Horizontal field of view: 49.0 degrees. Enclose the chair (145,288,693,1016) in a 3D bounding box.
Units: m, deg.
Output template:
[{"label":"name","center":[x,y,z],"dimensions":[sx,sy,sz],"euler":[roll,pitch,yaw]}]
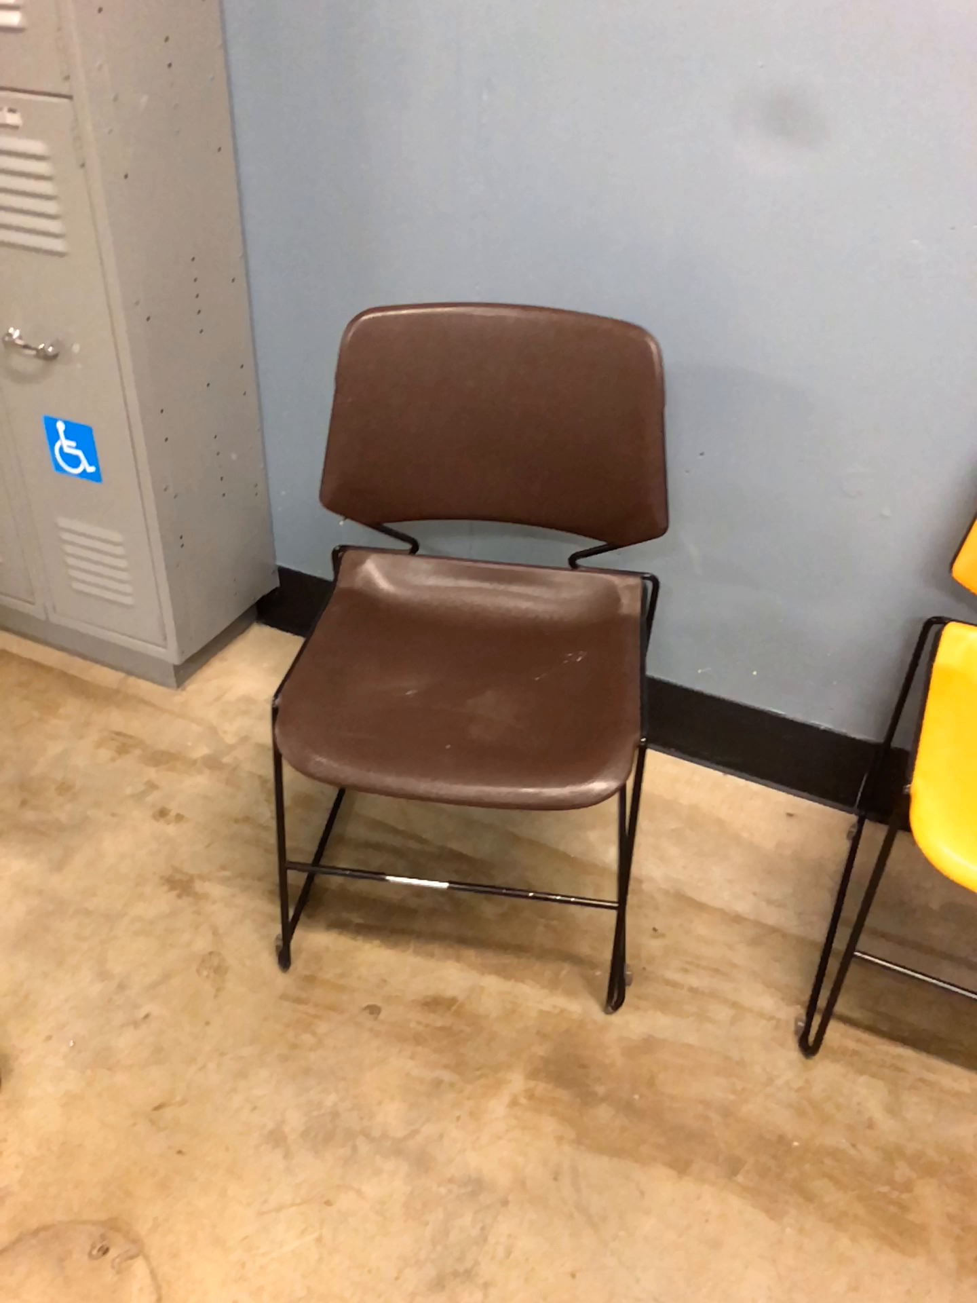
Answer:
[{"label":"chair","center":[-0.048,-0.009,1.434],"dimensions":[0.515,0.751,0.548],"euler":[5,35,5]}]
